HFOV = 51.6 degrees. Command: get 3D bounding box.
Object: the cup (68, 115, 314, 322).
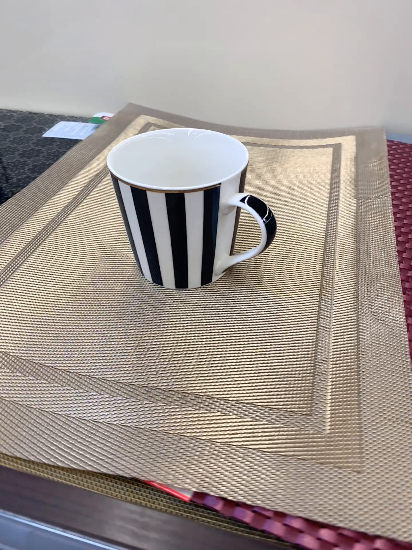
[{"bbox_3d":[-0.011,-0.051,0.306,0.130,0.080,0.100,27,44,32],"label":"cup"}]
